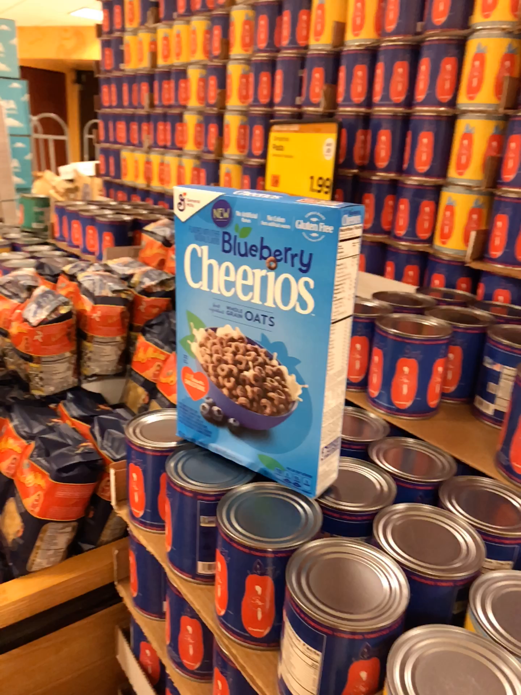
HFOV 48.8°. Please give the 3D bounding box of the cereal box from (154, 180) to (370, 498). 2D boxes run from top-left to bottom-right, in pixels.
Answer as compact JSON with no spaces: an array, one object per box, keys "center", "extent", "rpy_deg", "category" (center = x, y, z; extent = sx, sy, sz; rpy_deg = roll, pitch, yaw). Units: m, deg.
[{"center":[-0.011,-0.018,0.591],"extent":[0.210,0.278,0.060],"rpy_deg":[17,24,33],"category":"cereal box"}]
